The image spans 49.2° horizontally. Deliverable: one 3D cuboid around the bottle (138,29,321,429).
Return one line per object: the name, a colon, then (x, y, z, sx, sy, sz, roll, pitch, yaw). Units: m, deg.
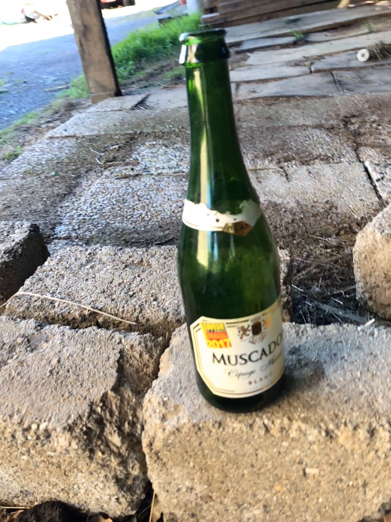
bottle: (0.028, -0.011, 0.334, 0.090, 0.288, 0.090, -5, 31, 3)
